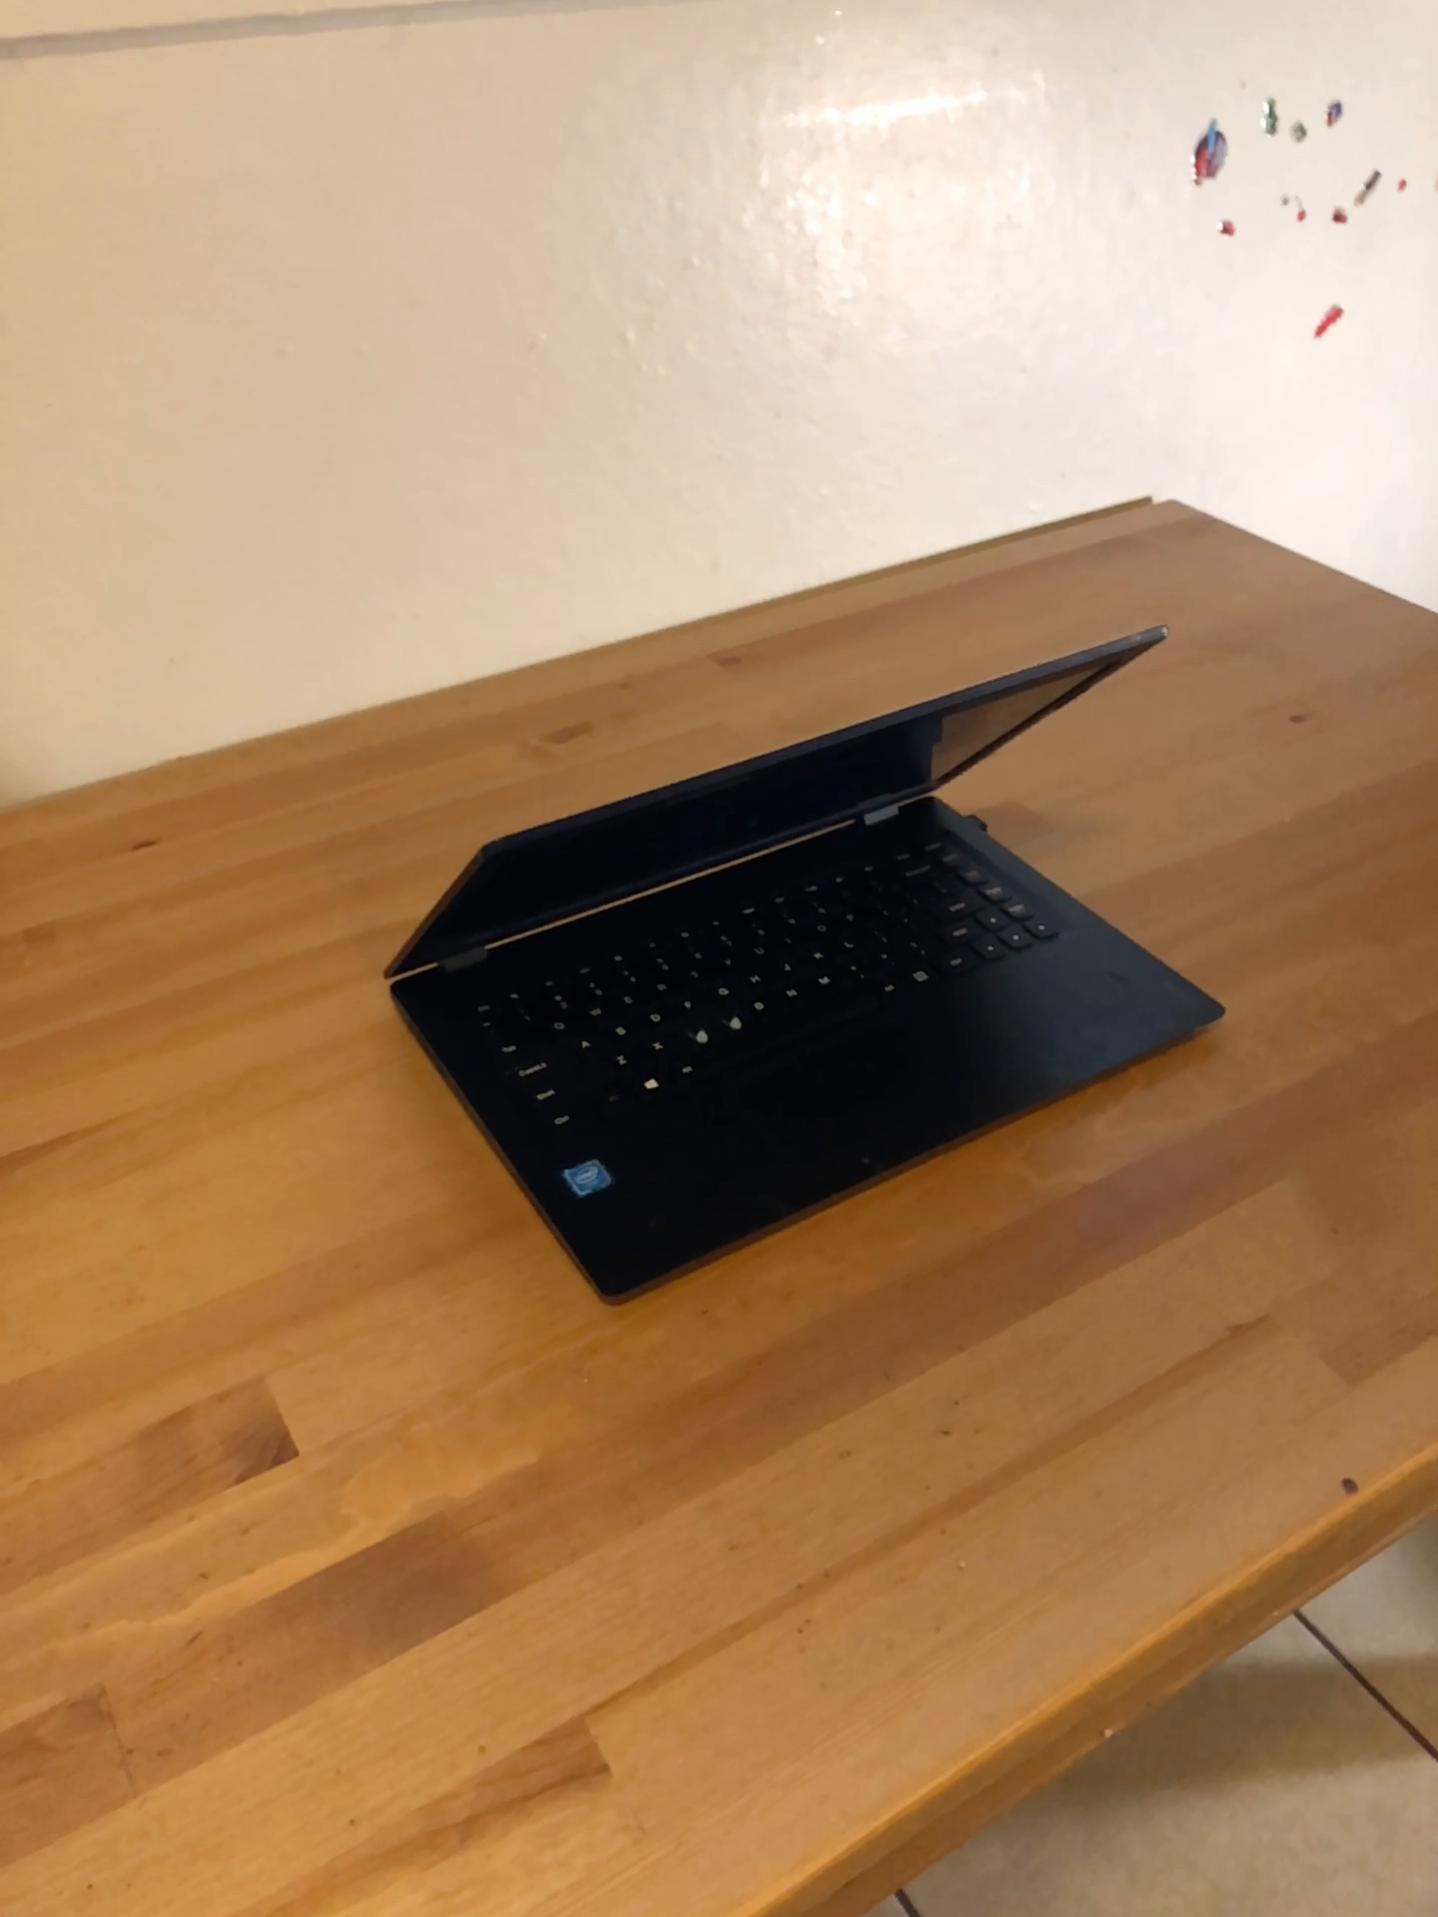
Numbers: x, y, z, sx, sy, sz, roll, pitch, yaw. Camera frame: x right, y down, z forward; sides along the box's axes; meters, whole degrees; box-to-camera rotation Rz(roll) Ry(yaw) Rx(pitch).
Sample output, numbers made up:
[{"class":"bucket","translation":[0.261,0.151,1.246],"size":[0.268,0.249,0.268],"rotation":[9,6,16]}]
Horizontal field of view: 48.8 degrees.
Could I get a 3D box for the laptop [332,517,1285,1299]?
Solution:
[{"class":"laptop","translation":[0.035,-0.044,0.682],"size":[0.317,0.161,0.216],"rotation":[-20,42,-24]}]
